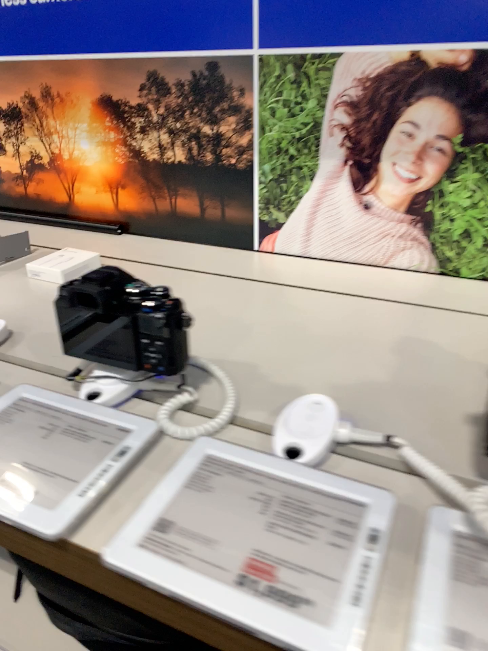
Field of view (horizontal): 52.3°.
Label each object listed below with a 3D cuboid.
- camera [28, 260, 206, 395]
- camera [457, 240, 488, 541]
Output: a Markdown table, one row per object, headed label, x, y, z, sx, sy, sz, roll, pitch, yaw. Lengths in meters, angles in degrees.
| label | x | y | z | sx | sy | sz | roll | pitch | yaw |
| --- | --- | --- | --- | --- | --- | --- | --- | --- | --- |
| camera | -0.111 | -0.003 | 0.449 | 0.130 | 0.080 | 0.070 | 9 | 29 | 21 |
| camera | 0.243 | 0.022 | 0.363 | 0.140 | 0.099 | 0.201 | 9 | 29 | 21 |
